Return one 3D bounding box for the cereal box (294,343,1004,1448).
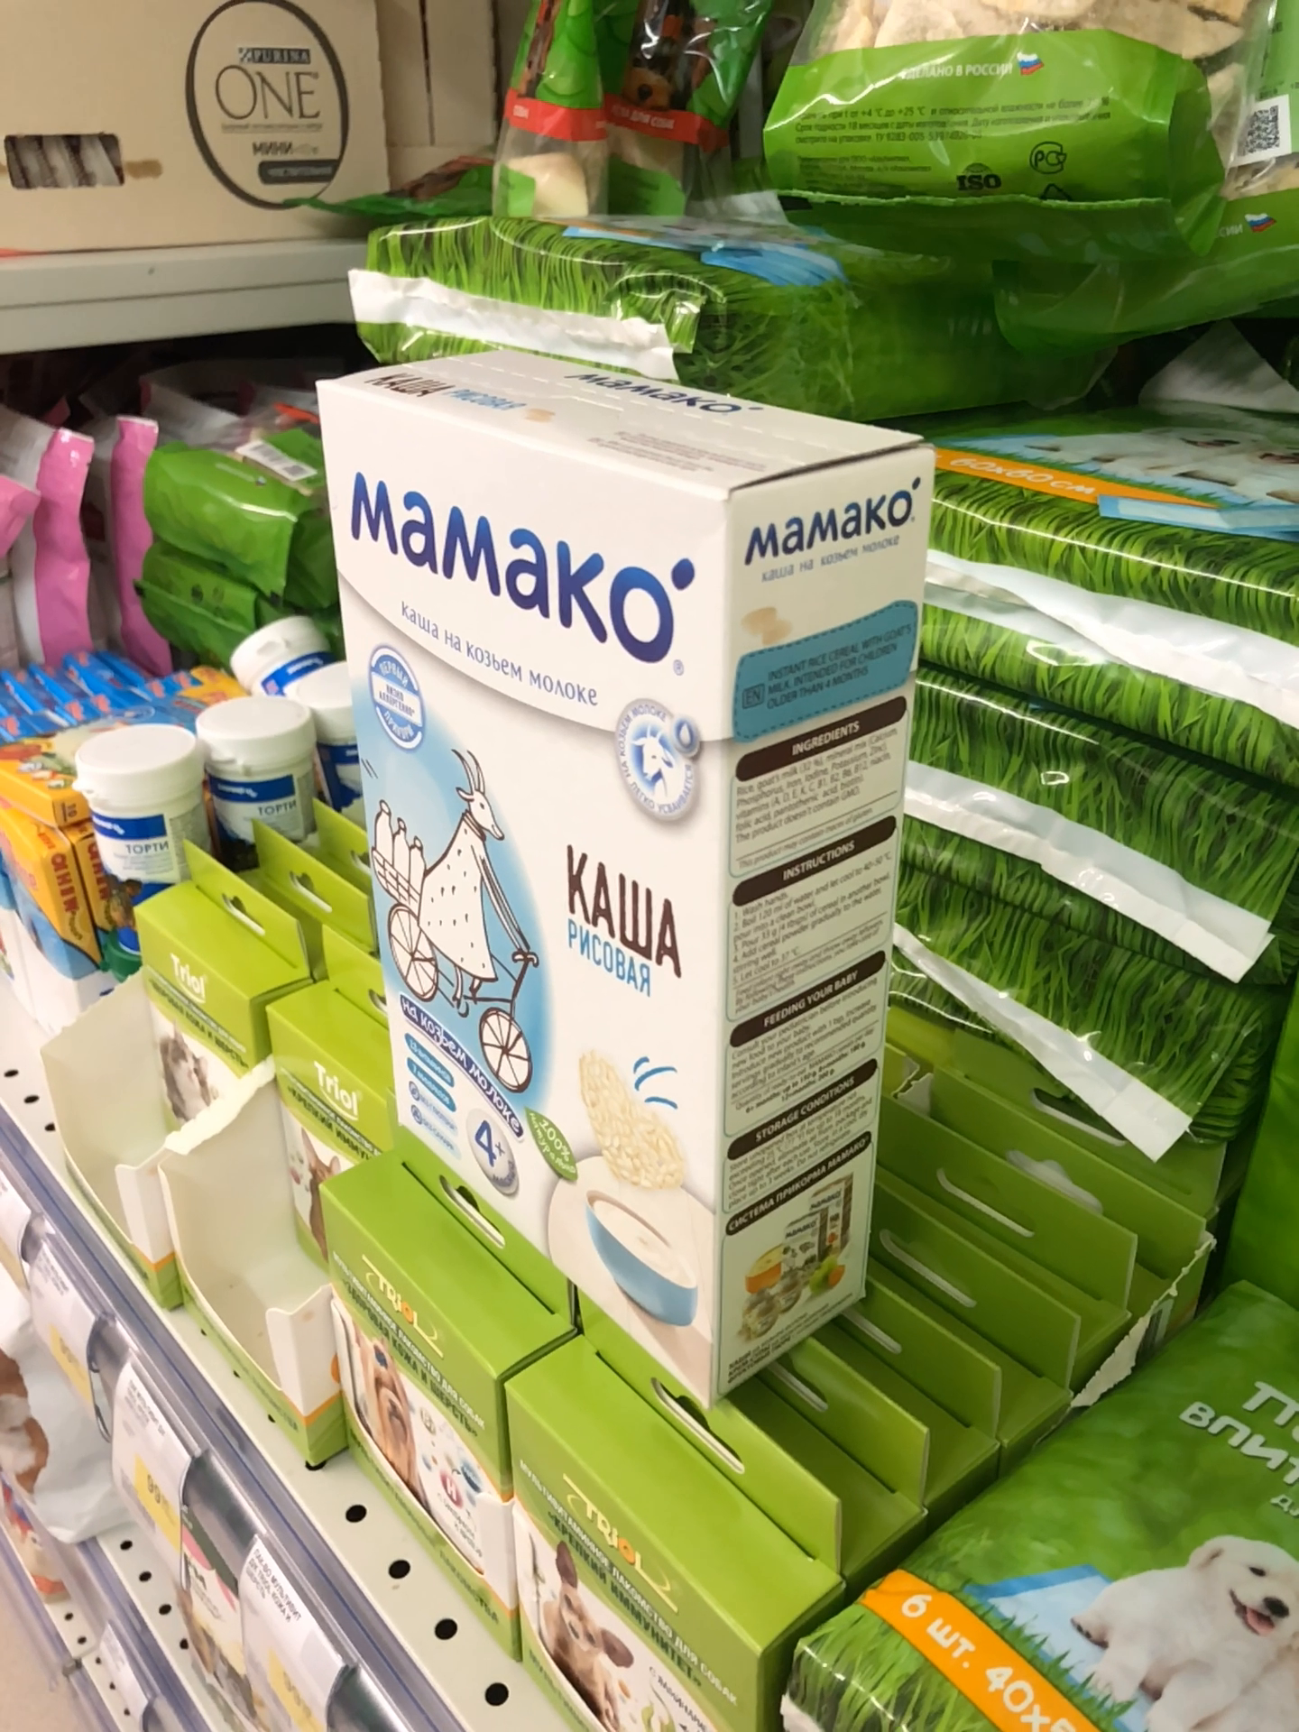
[{"bbox_3d":[-0.008,-0.001,0.319,0.060,0.199,0.140,-21,34,-34],"label":"cereal box"}]
